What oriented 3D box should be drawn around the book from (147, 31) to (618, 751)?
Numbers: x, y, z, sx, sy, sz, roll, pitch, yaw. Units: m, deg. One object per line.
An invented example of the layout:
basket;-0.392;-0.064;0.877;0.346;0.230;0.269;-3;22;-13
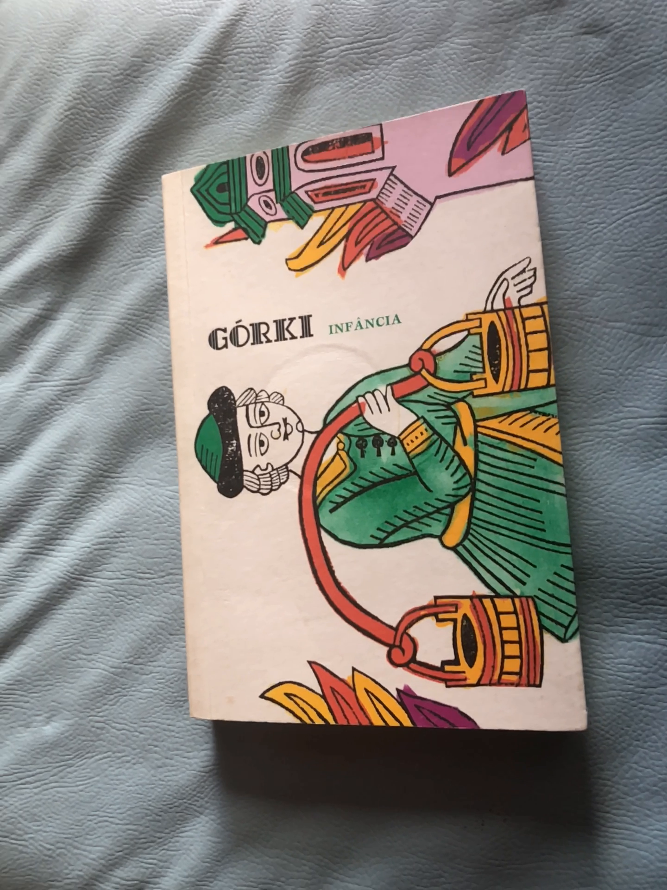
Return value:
book;0.010;-0.012;0.238;0.130;0.030;0.200;-6;85;18
